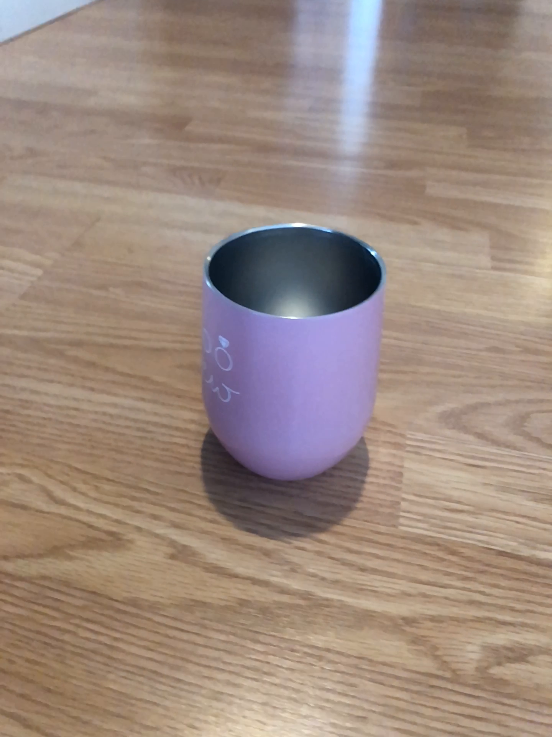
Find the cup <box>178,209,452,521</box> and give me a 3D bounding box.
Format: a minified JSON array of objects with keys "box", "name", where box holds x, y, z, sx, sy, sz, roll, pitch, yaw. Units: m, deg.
[{"box":[0.011,-0.005,0.296,0.090,0.100,0.090,1,40,-1],"name":"cup"}]
